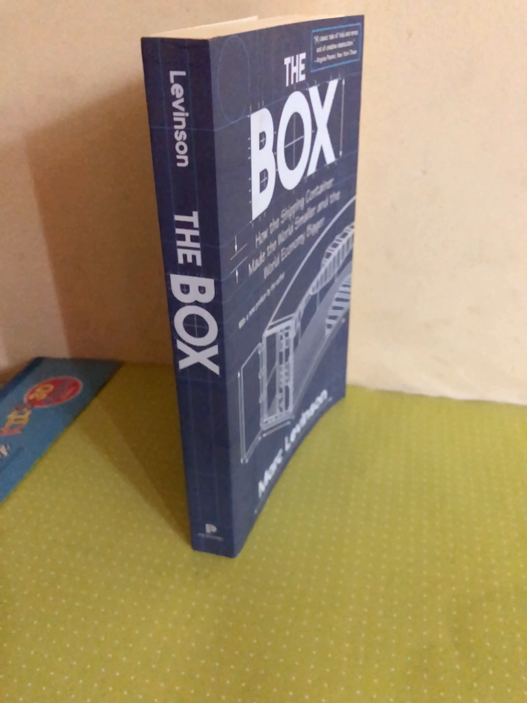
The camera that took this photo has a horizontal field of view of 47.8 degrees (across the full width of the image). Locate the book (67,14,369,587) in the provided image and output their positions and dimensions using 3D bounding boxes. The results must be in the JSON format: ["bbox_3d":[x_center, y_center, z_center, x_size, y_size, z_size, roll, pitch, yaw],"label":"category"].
[{"bbox_3d":[0.000,-0.038,0.290,0.050,0.219,0.181,10,31,18],"label":"book"}]
